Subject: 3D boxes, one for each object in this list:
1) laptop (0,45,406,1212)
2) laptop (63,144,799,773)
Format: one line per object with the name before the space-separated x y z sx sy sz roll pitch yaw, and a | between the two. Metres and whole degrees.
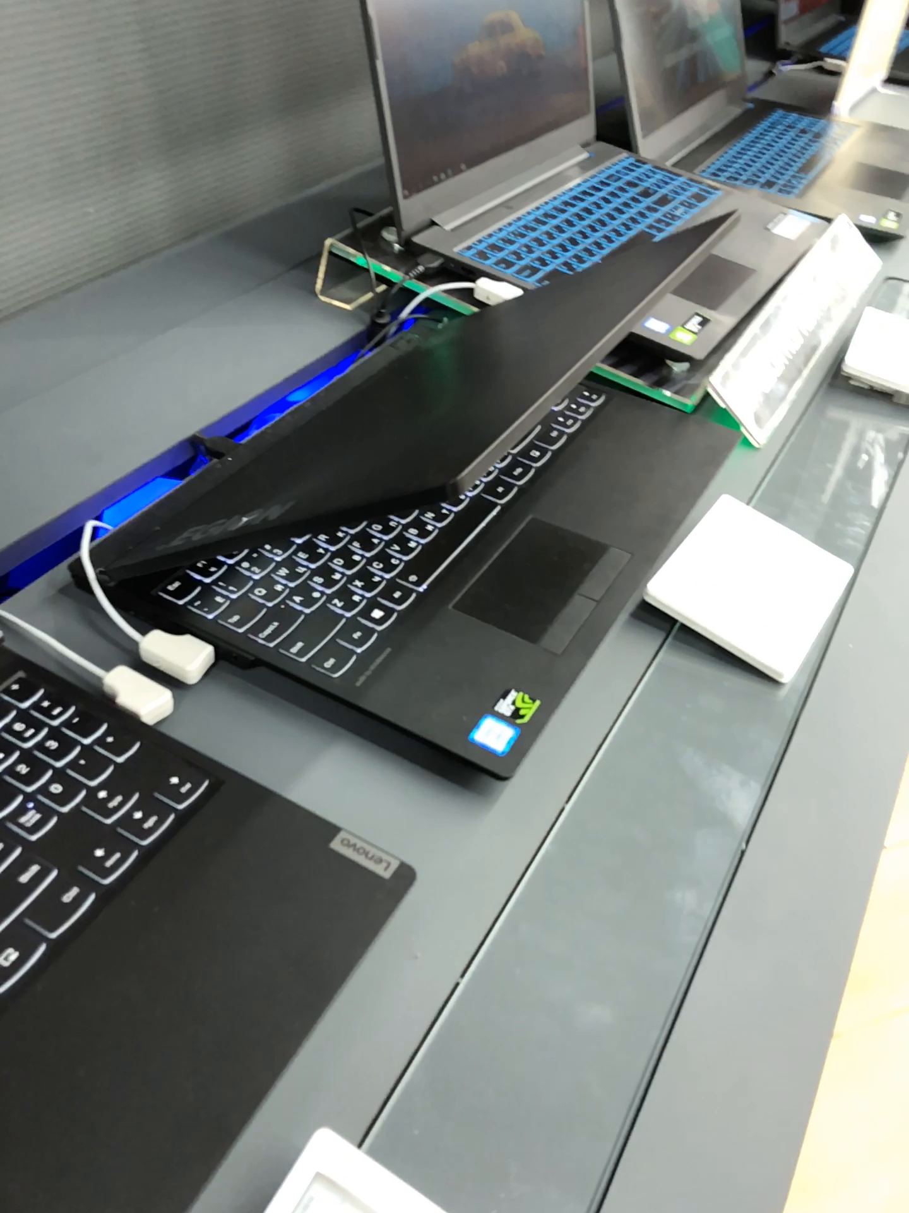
laptop | -0.231 0.061 0.243 0.307 0.231 0.365 25 45 20
laptop | 0.015 -0.118 0.548 0.227 0.136 0.354 23 43 19
